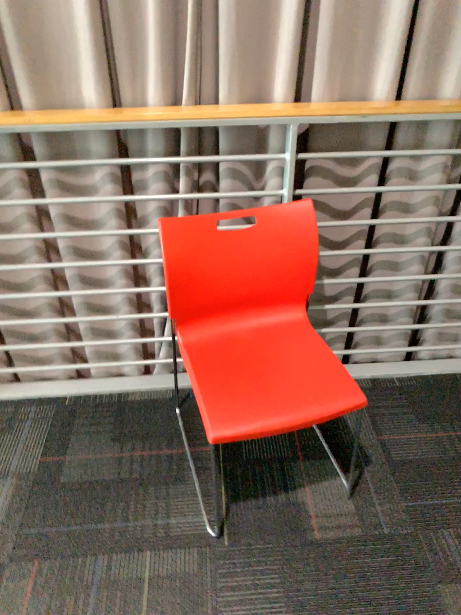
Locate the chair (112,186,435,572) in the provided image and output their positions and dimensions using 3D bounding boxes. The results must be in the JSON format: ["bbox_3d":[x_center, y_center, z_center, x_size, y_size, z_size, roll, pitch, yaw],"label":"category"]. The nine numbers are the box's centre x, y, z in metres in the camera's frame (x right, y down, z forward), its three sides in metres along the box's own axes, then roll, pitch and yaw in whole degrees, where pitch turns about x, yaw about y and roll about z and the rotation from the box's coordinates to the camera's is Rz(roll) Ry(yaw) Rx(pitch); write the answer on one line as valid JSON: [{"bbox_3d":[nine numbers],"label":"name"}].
[{"bbox_3d":[0.042,0.199,1.460,0.630,0.855,0.664,-9,39,-12],"label":"chair"}]
